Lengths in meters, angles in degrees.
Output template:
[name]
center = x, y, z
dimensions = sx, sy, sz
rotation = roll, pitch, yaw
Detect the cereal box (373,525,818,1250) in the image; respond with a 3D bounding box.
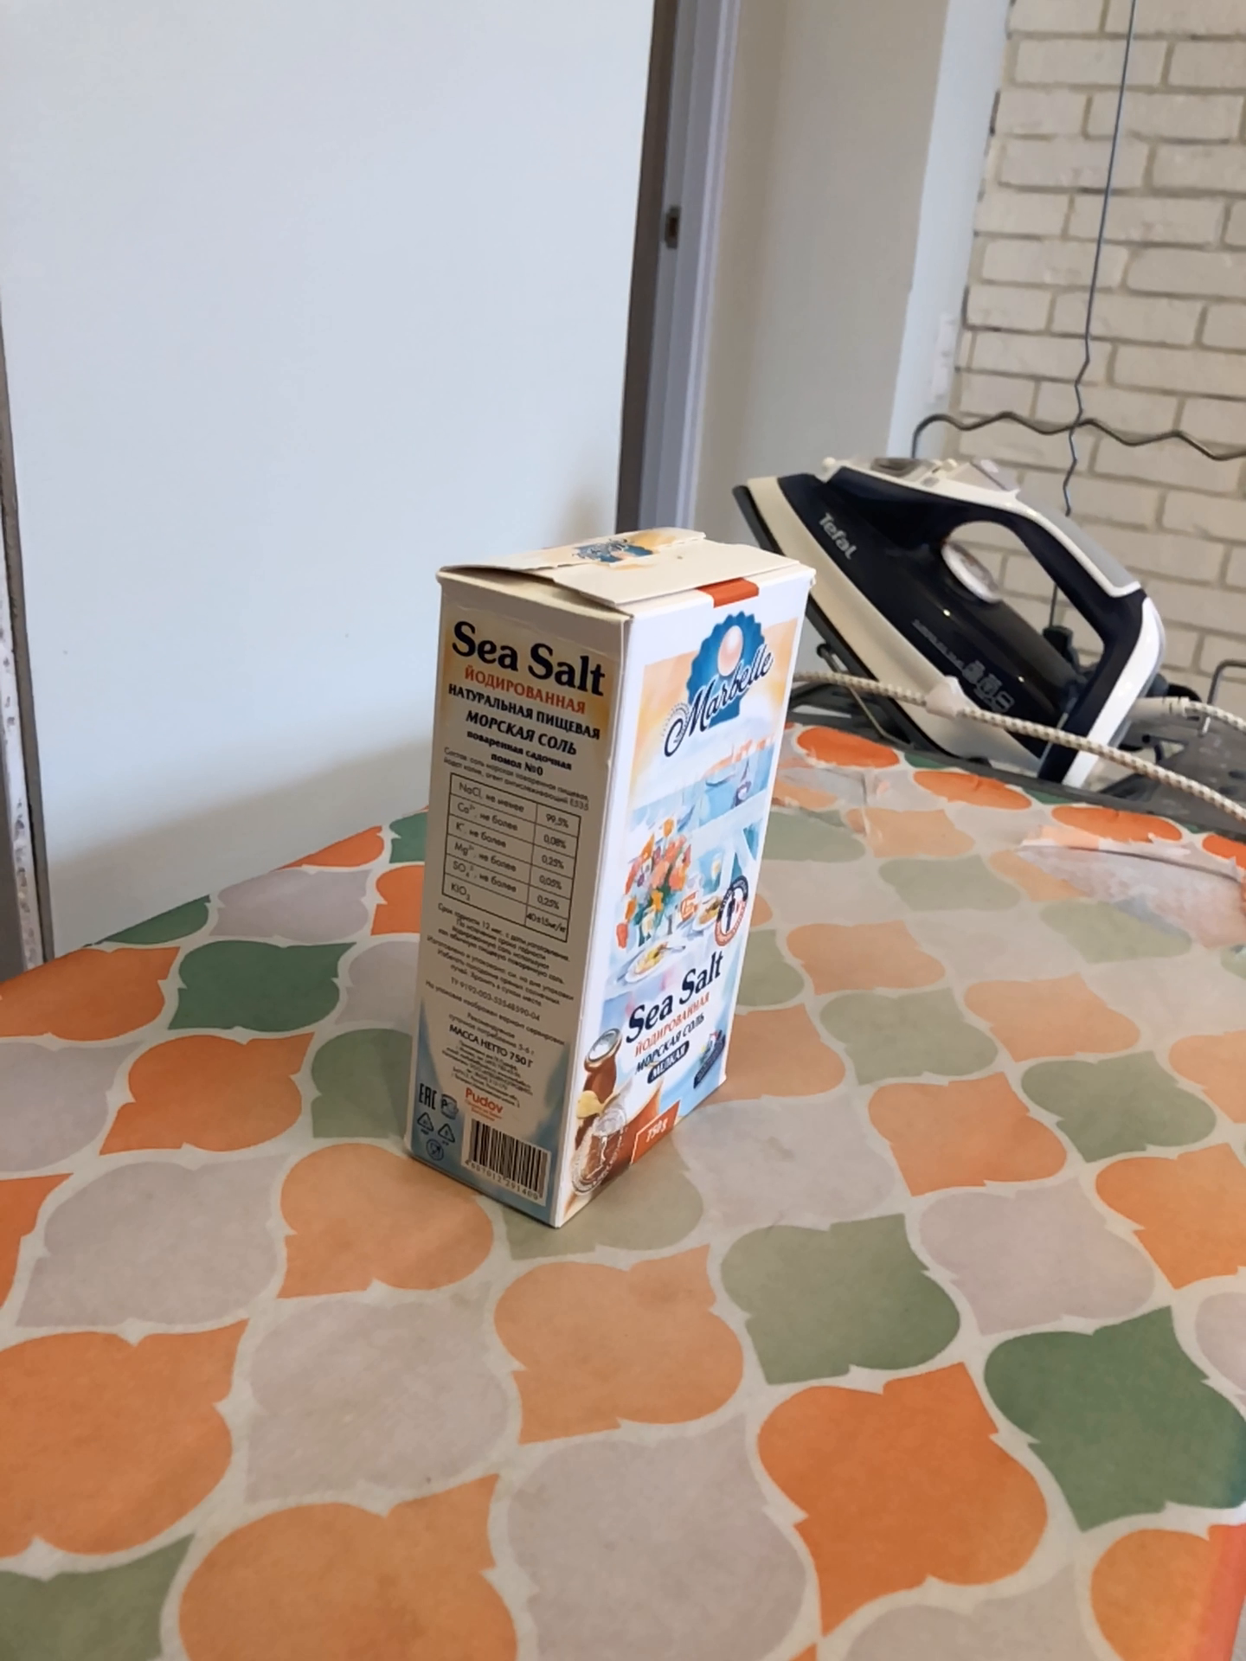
[cereal box]
center = -0.008, 0.009, 0.381
dimensions = 0.060, 0.169, 0.100
rotation = 19, 24, 27
